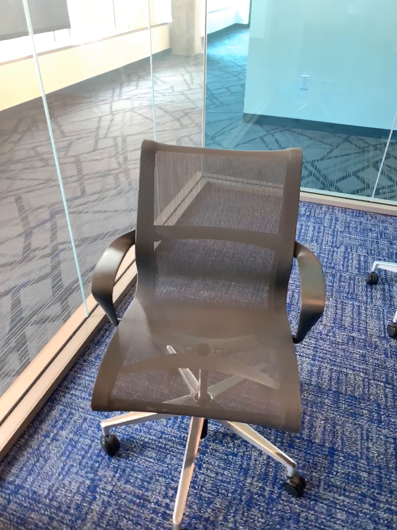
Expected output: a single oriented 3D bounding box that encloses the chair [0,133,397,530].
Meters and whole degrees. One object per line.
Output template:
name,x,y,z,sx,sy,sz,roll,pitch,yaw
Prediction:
chair,0.033,0.177,0.986,0.660,0.773,0.646,4,34,4
